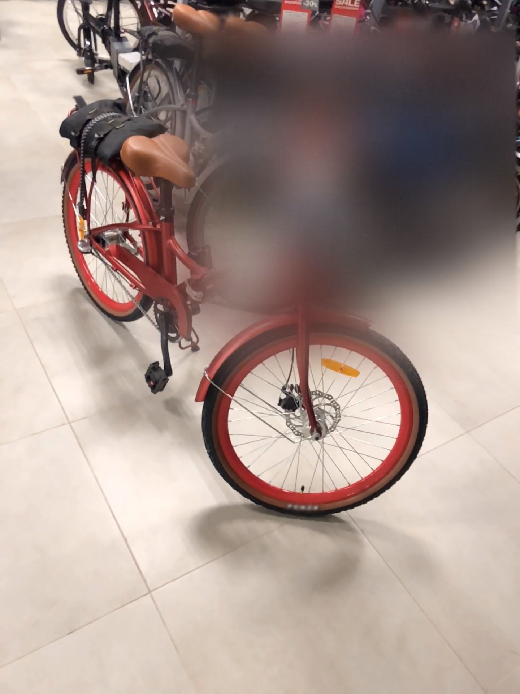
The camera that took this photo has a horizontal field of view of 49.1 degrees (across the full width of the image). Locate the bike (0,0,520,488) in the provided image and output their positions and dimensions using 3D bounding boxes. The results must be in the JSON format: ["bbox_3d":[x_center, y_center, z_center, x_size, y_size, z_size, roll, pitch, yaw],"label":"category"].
[{"bbox_3d":[-0.100,-0.446,1.720,1.495,1.111,0.518,30,43,27],"label":"bike"}]
